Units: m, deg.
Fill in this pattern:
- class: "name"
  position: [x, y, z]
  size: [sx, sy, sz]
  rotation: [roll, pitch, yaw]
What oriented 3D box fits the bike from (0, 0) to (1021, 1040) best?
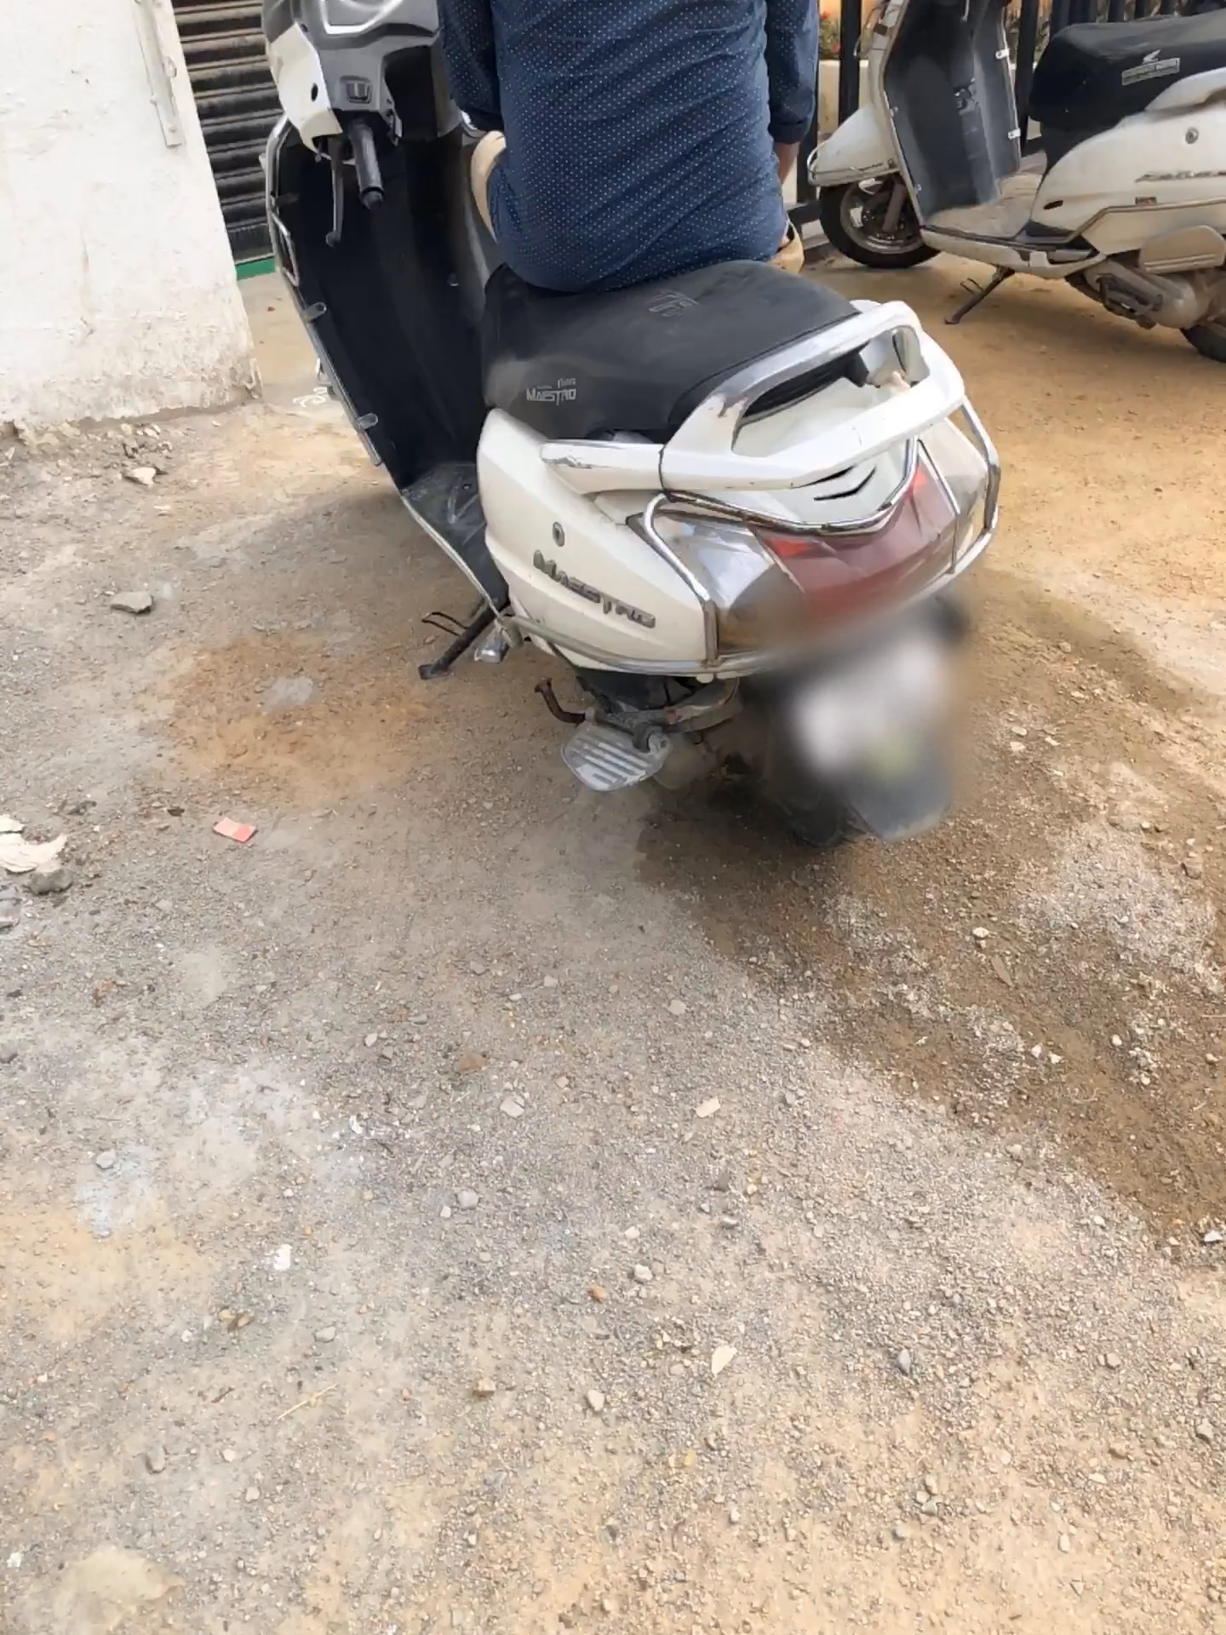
- class: "bike"
  position: [-0.273, -0.754, 1.981]
  size: [0.602, 1.231, 1.558]
  rotation: [-23, 43, -25]
